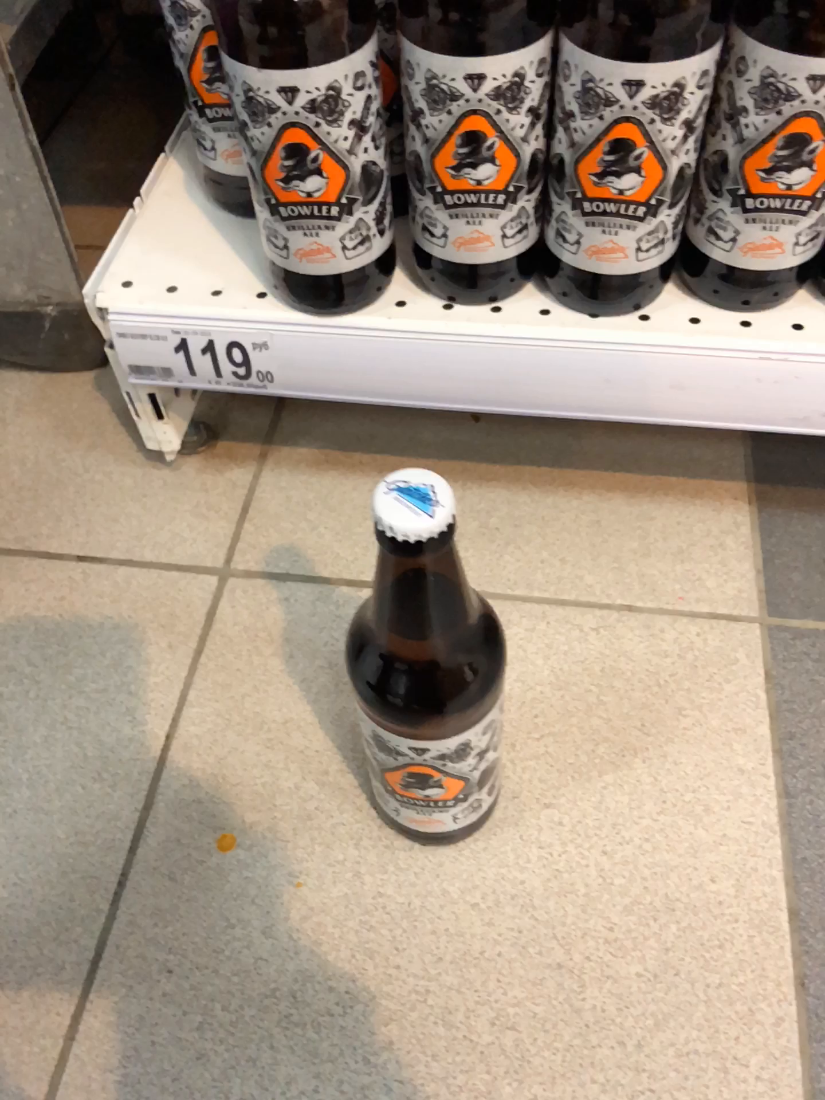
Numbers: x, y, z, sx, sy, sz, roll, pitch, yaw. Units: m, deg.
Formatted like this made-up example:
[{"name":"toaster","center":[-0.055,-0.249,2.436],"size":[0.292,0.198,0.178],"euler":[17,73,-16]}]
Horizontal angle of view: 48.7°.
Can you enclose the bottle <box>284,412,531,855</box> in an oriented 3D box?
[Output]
[{"name":"bottle","center":[0.008,0.053,0.394],"size":[0.074,0.239,0.070],"euler":[-2,52,3]}]
